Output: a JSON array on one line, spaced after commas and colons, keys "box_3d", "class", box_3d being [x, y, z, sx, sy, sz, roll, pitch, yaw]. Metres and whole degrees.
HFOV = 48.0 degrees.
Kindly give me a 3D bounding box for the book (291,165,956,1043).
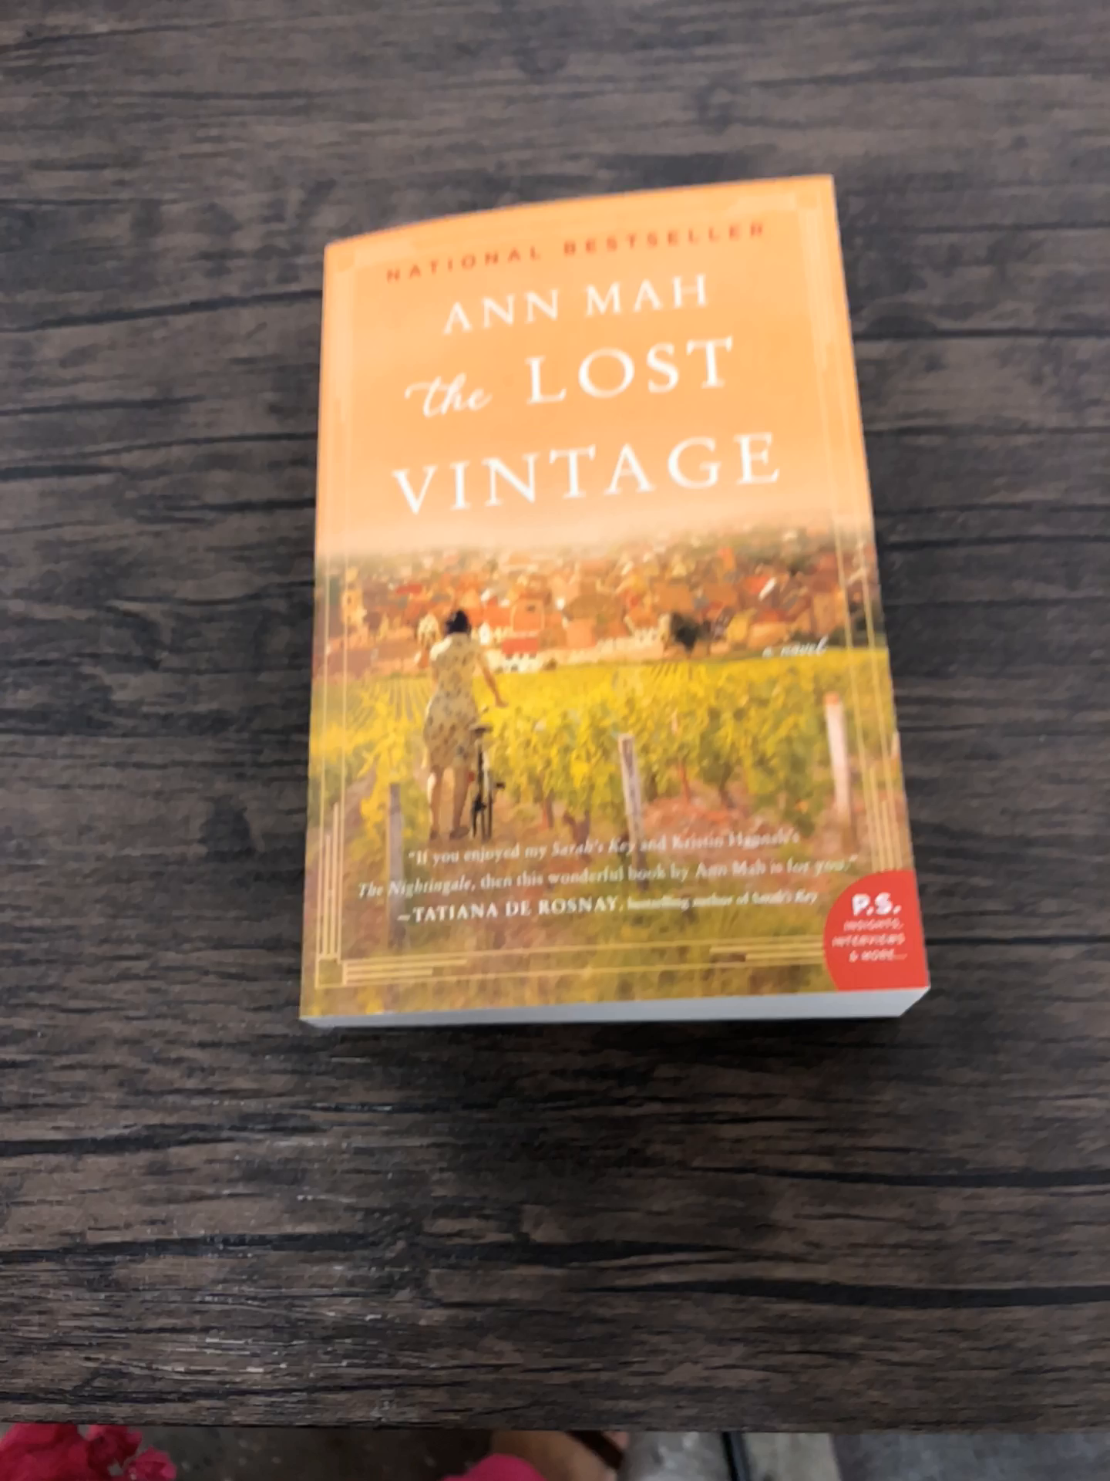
[{"box_3d": [0.011, -0.034, 0.299, 0.134, 0.040, 0.200, -4, 73, 5], "class": "book"}]
